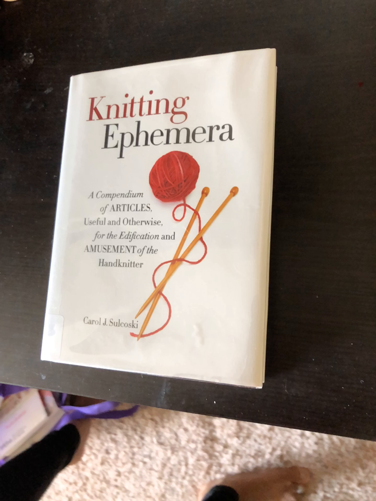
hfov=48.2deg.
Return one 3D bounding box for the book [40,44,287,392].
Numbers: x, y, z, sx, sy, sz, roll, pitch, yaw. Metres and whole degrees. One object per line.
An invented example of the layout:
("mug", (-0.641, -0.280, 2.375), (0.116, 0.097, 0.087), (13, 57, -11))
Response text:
("book", (-0.014, -0.020, 0.246), (0.132, 0.029, 0.178), (1, 83, 20))
